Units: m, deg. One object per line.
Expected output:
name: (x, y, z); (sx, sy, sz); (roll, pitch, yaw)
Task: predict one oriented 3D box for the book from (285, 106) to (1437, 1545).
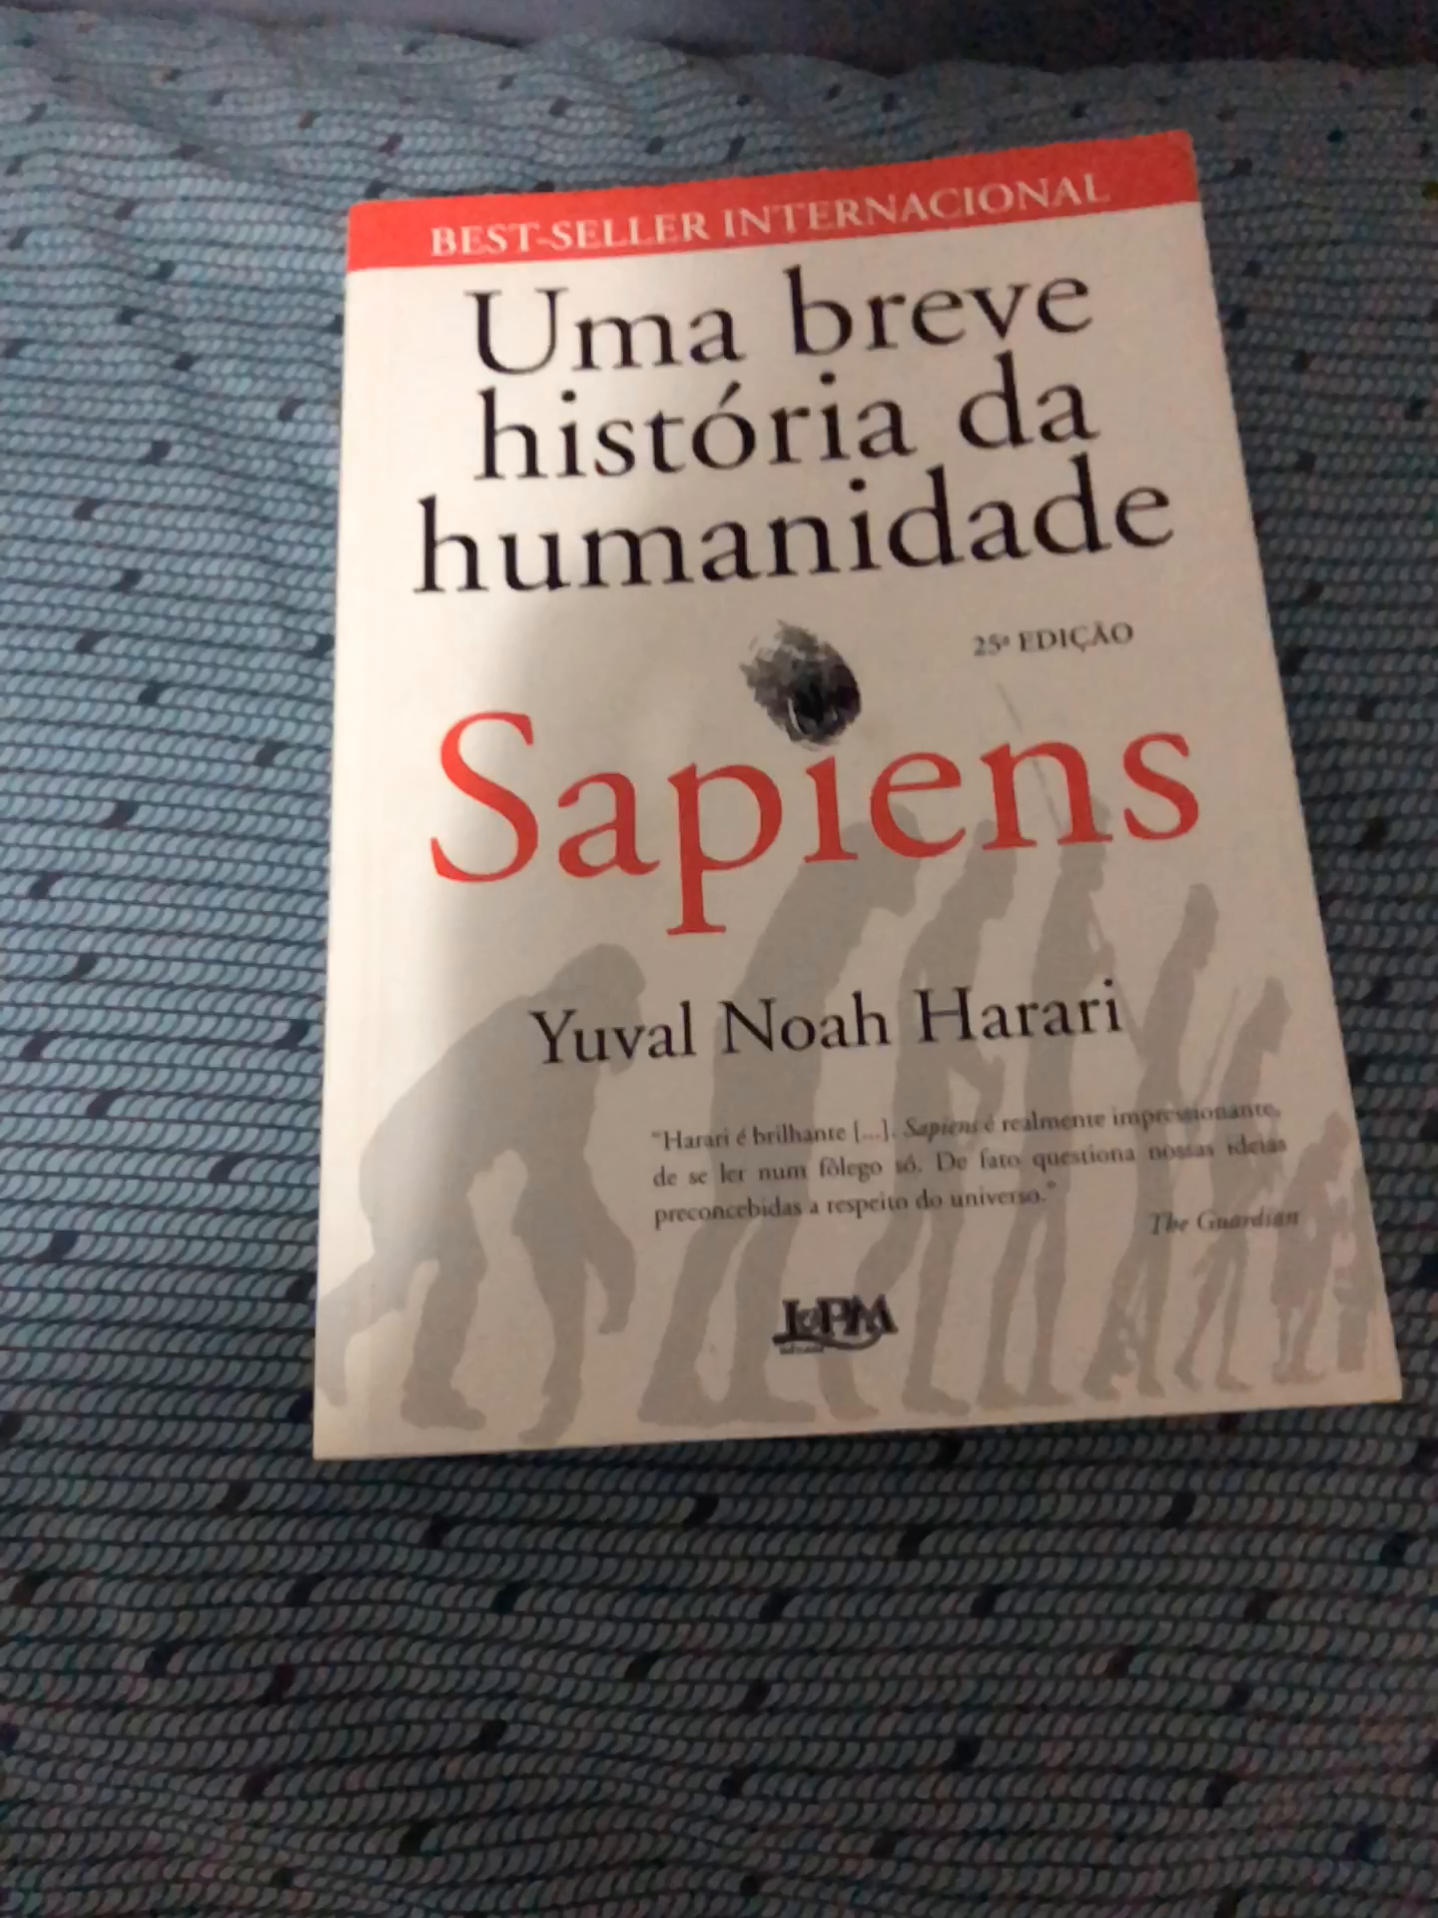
book: (0.013, -0.032, 0.278); (0.160, 0.040, 0.240); (-4, 72, 0)
